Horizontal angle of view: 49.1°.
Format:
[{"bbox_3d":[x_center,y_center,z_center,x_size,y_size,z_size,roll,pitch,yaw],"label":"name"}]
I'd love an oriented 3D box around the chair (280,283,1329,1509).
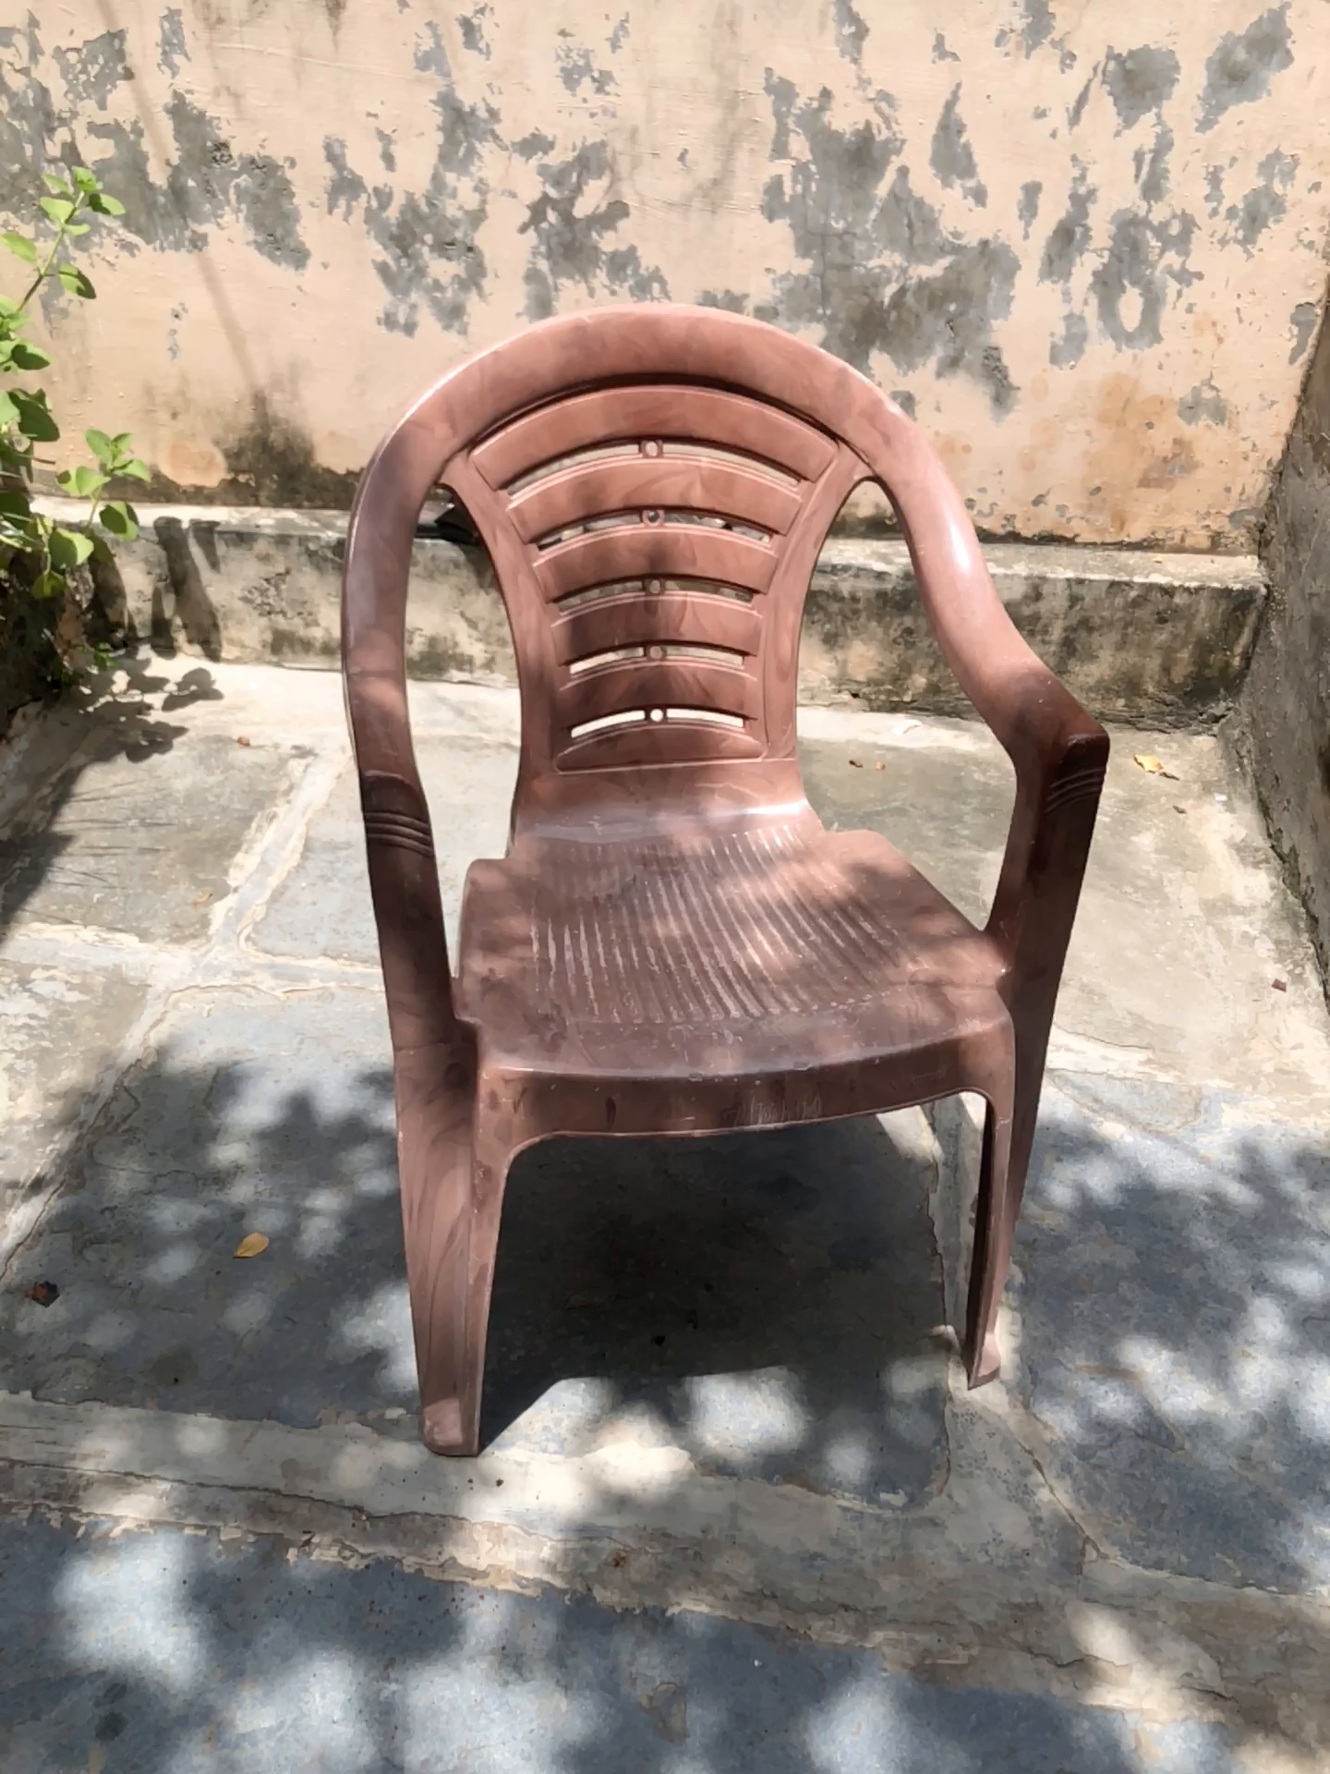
[{"bbox_3d":[0.040,-0.012,1.166,0.581,0.766,0.542,-4,36,-10],"label":"chair"}]
